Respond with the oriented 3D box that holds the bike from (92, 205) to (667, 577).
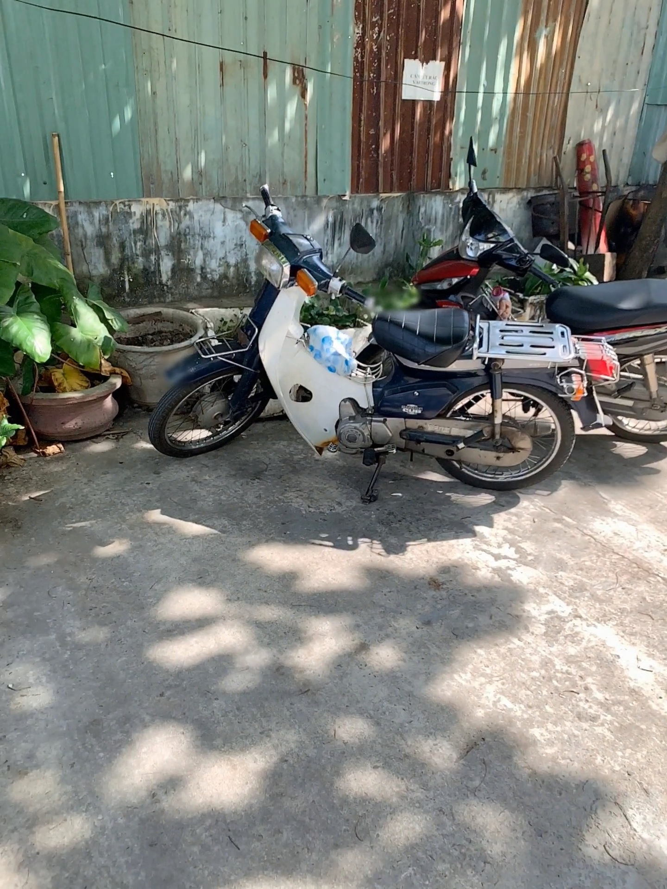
[{"bbox_3d":[0.107,-0.191,2.220,1.474,1.024,0.656,1,26,0],"label":"bike"}]
